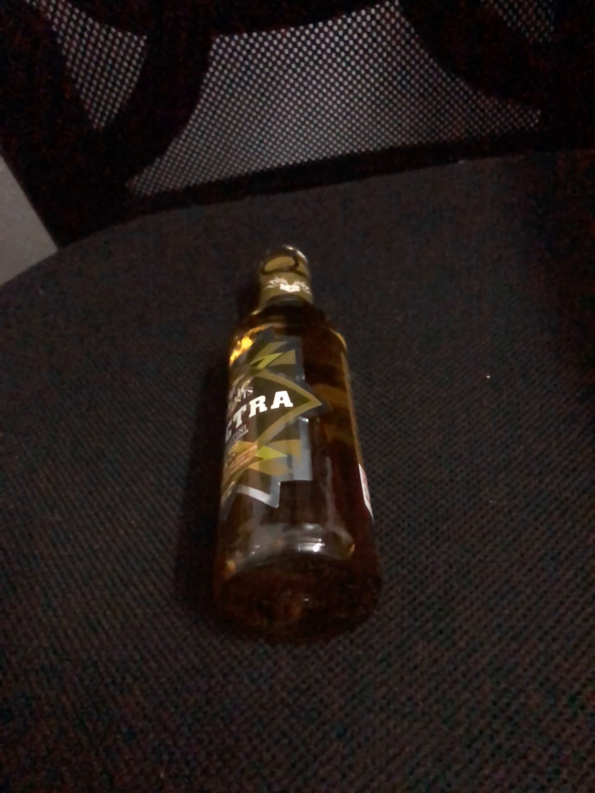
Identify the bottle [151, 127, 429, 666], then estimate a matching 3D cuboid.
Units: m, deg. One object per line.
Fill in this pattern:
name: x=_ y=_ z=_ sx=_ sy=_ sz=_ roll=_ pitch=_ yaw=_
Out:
bottle: x=-0.006 y=-0.019 z=0.280 sx=0.070 sy=0.060 sz=0.231 roll=-15 pitch=48 yaw=12
